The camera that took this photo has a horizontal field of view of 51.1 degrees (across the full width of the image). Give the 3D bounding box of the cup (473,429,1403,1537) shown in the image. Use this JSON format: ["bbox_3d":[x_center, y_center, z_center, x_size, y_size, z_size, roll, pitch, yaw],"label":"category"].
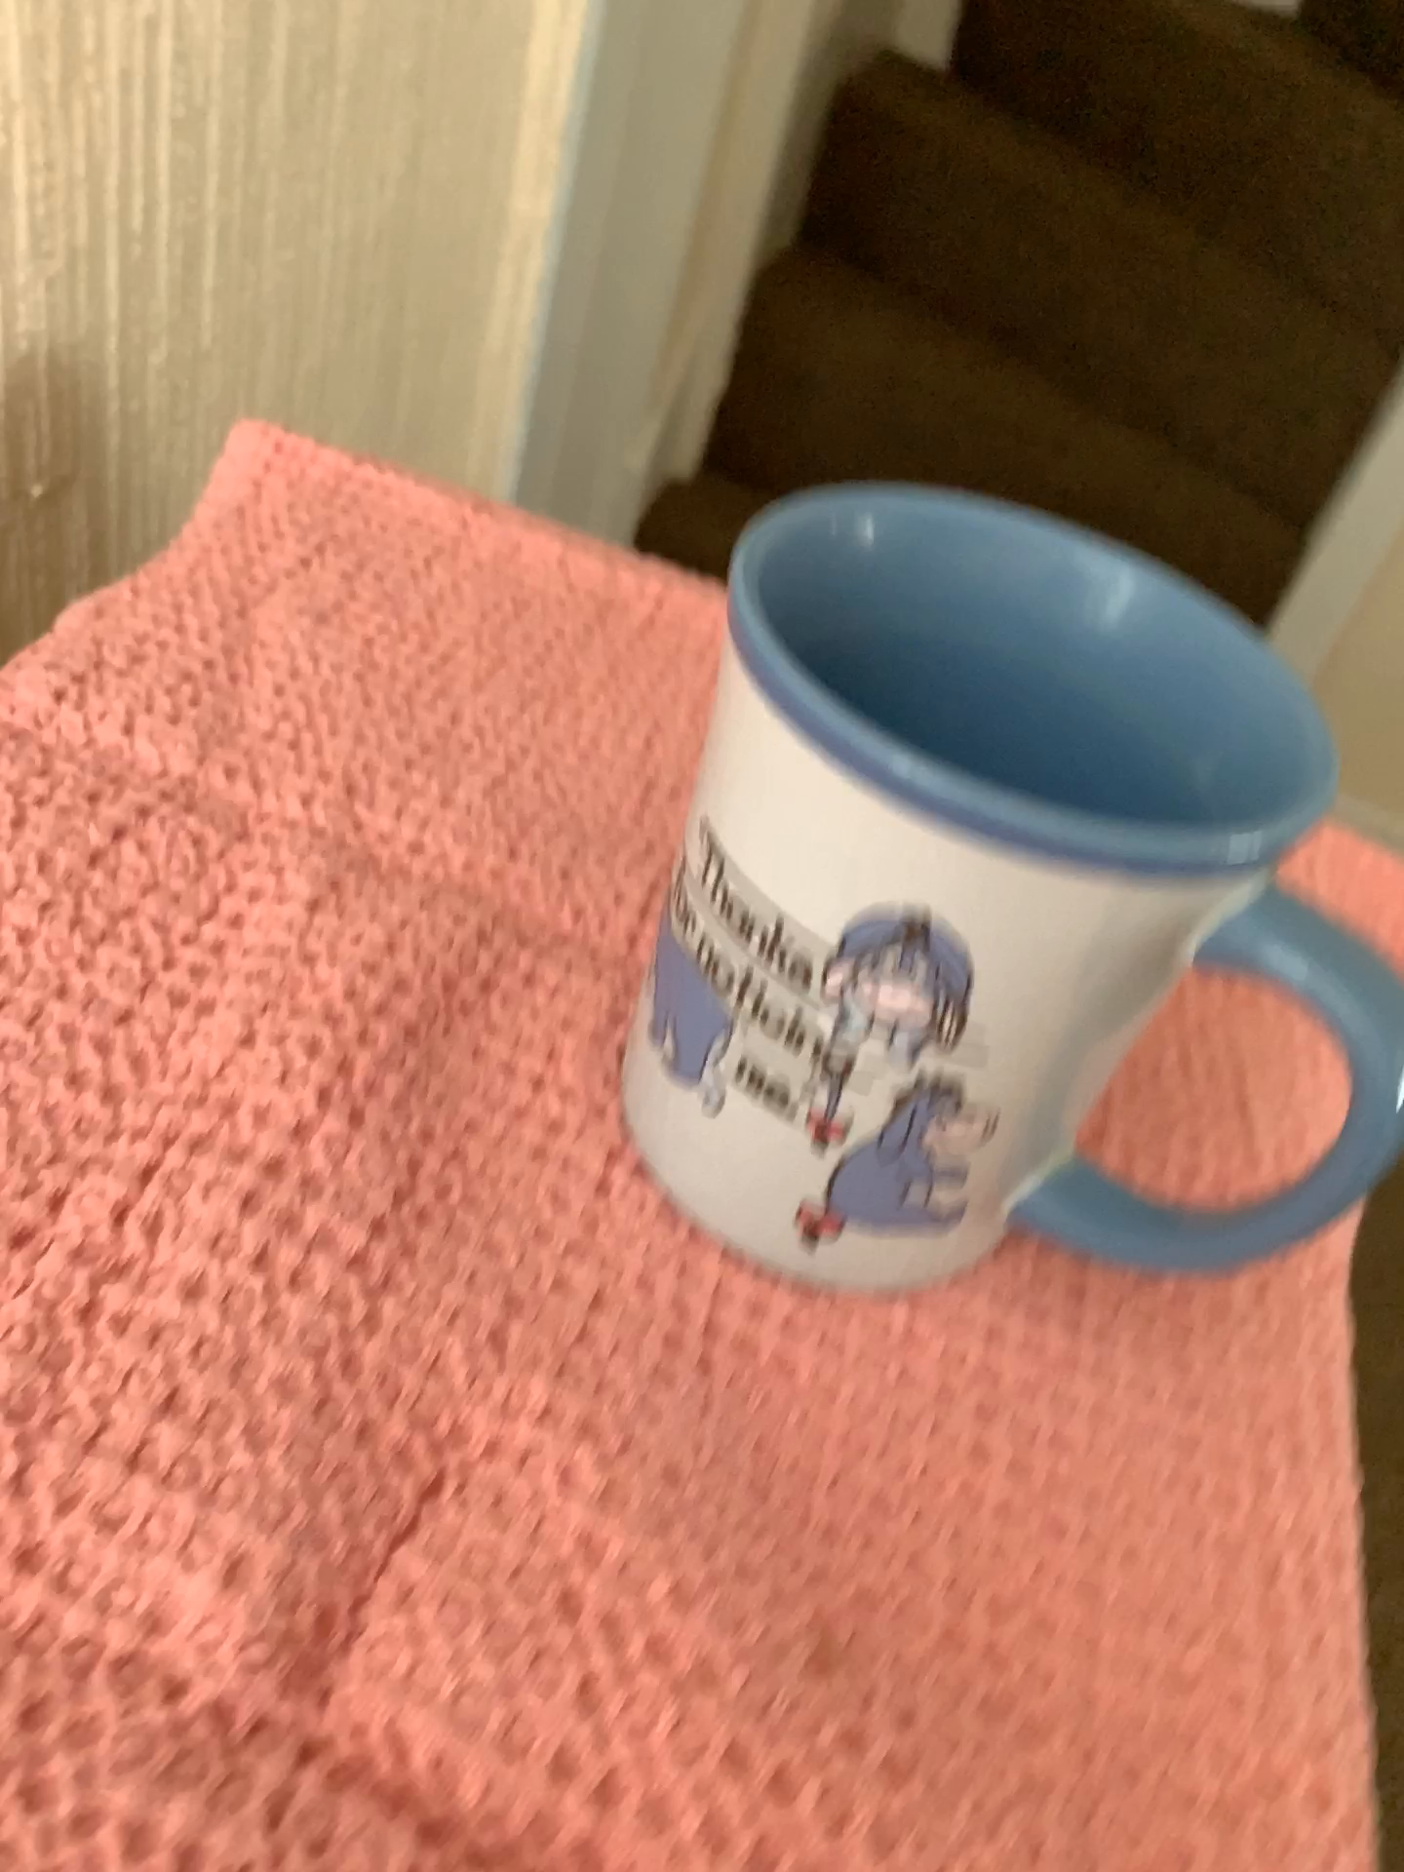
[{"bbox_3d":[0.042,-0.001,0.225,0.110,0.099,0.091,41,44,25],"label":"cup"}]
